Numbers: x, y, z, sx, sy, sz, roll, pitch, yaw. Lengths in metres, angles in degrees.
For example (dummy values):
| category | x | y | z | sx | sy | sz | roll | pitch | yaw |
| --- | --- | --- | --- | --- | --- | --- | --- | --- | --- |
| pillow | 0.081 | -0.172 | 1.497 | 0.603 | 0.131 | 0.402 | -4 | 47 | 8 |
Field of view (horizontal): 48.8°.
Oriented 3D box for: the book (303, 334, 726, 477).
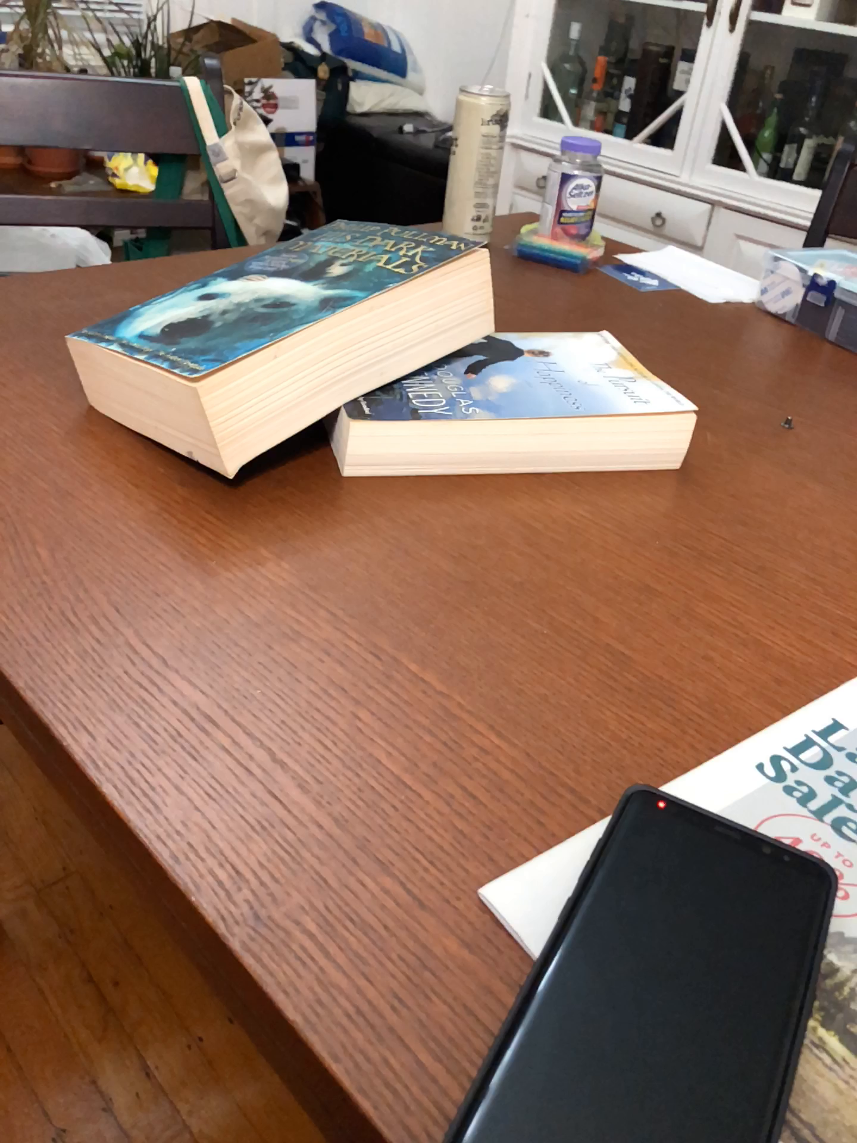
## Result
| category | x | y | z | sx | sy | sz | roll | pitch | yaw |
| --- | --- | --- | --- | --- | --- | --- | --- | --- | --- |
| book | 0.044 | -0.117 | 0.627 | 0.240 | 0.040 | 0.171 | -3 | 28 | -10 |

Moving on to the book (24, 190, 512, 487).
| category | x | y | z | sx | sy | sz | roll | pitch | yaw |
| --- | --- | --- | --- | --- | --- | --- | --- | --- | --- |
| book | -0.092 | -0.160 | 0.588 | 0.170 | 0.060 | 0.241 | 27 | 50 | 36 |
